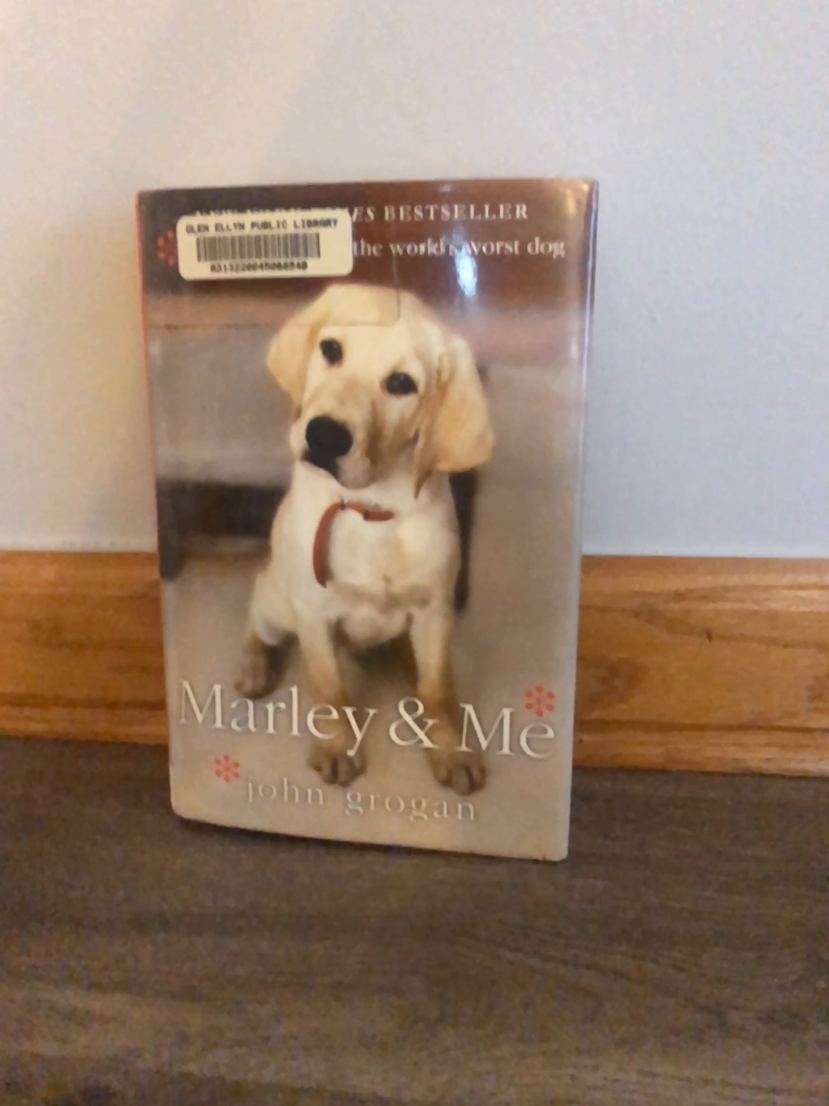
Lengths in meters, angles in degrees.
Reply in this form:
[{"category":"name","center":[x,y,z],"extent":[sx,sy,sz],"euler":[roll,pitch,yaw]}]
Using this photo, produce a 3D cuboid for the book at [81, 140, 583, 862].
[{"category":"book","center":[-0.022,-0.013,0.311],"extent":[0.151,0.219,0.040],"euler":[1,13,12]}]
